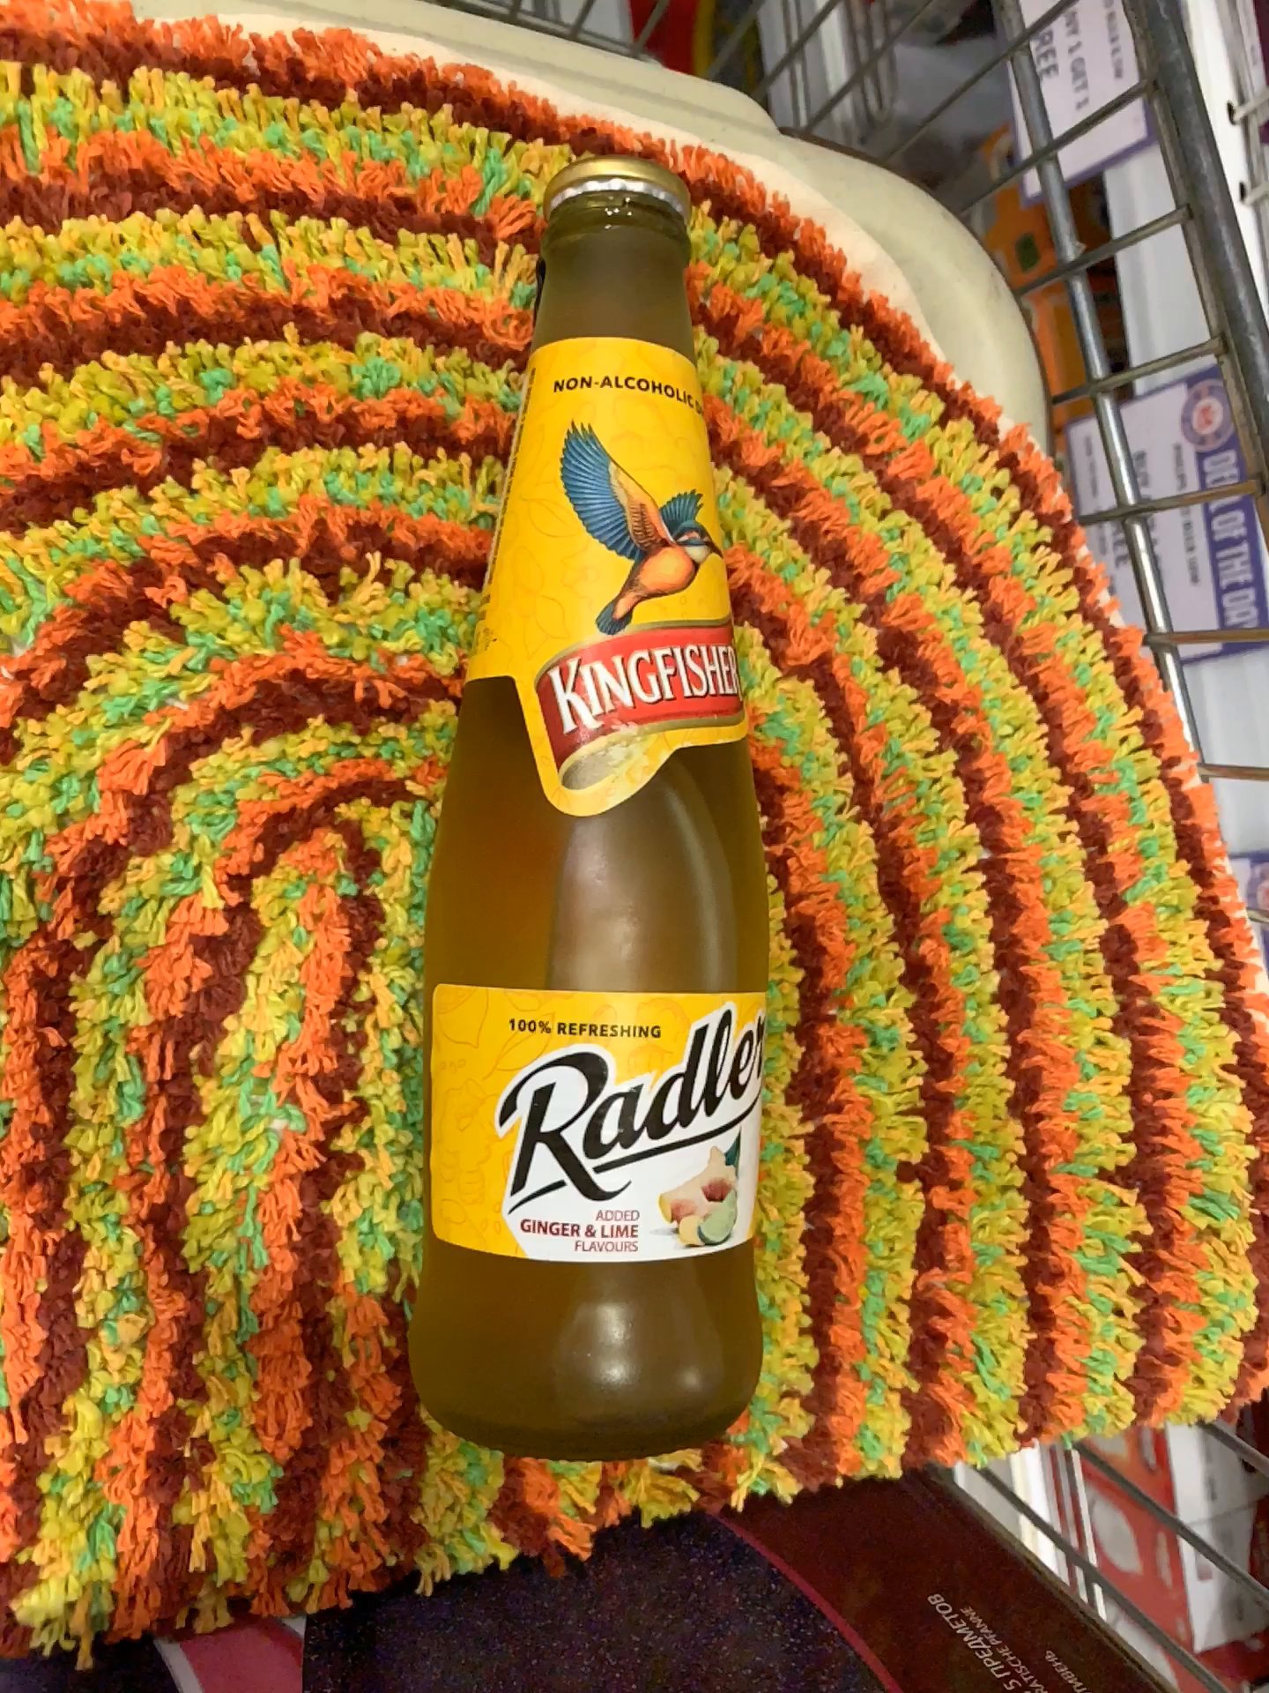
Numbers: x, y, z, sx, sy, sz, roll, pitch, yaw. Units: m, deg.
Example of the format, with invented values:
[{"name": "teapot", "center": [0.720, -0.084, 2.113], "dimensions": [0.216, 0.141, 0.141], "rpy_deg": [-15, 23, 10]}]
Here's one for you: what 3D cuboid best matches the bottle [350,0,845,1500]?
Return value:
[{"name": "bottle", "center": [-0.008, -0.019, 0.222], "dimensions": [0.060, 0.060, 0.220], "rpy_deg": [3, 86, -21]}]
